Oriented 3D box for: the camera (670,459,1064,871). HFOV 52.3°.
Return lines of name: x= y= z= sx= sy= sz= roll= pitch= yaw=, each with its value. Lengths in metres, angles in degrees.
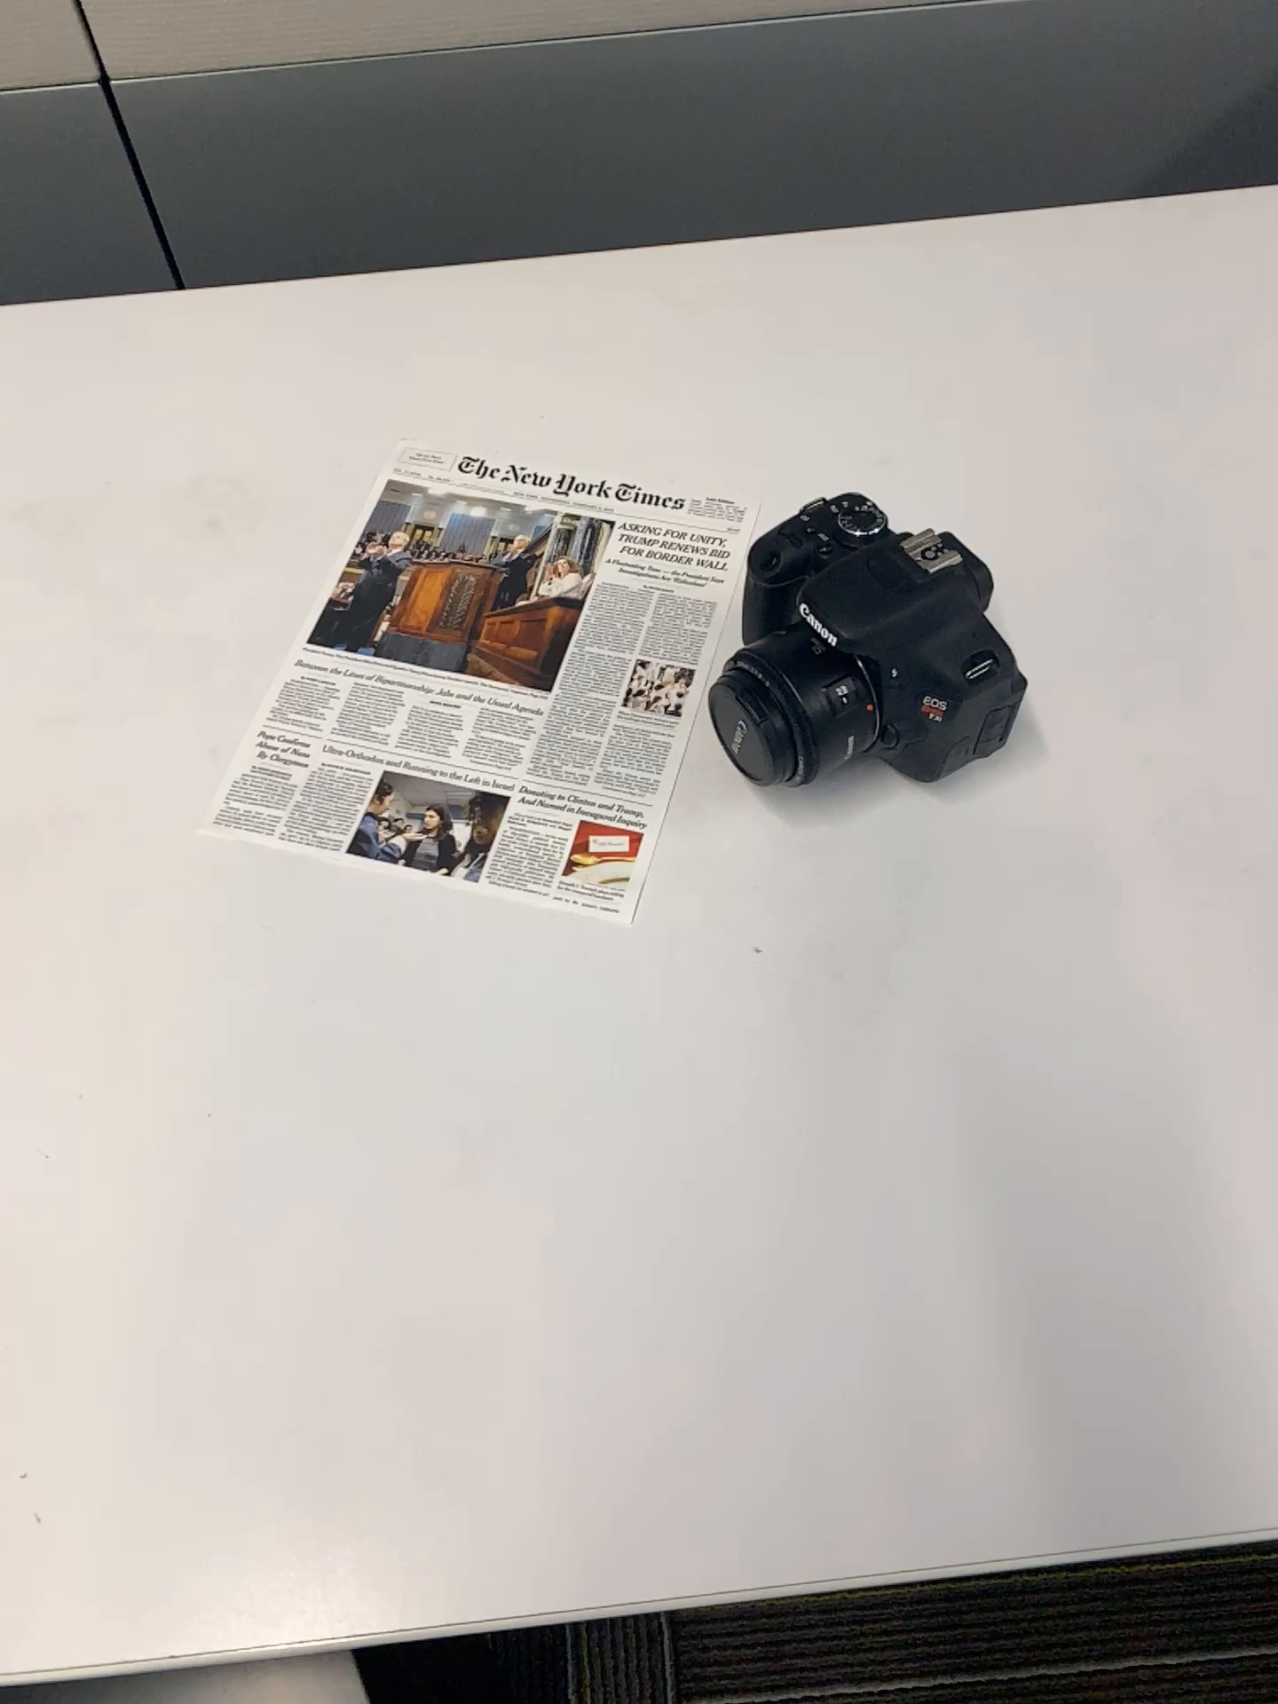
camera: x=0.090 y=-0.080 z=0.559 sx=0.114 sy=0.090 sz=0.109 roll=-28 pitch=62 yaw=-15
